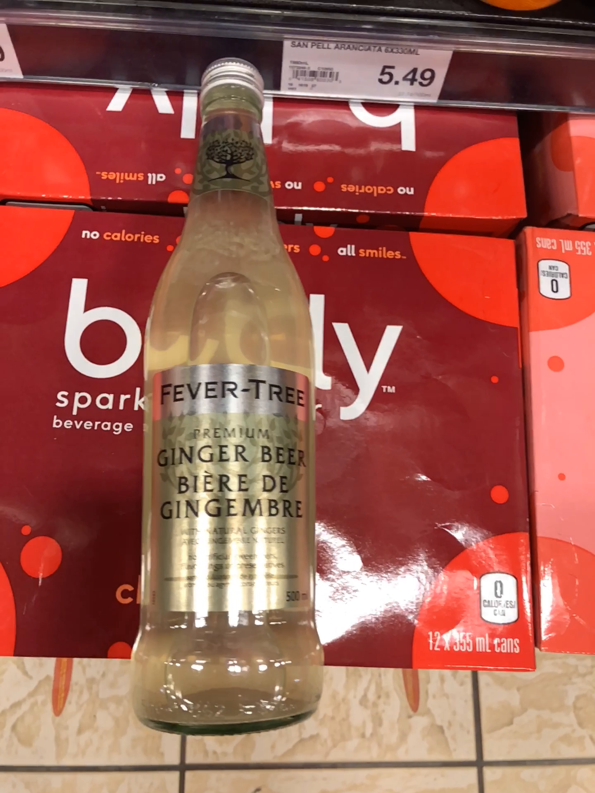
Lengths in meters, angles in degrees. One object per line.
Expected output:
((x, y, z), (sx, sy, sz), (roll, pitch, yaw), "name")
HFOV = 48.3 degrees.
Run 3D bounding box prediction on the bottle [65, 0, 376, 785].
((-0.027, -0.023, 0.243), (0.080, 0.080, 0.270), (-1, 76, -5), "bottle")
